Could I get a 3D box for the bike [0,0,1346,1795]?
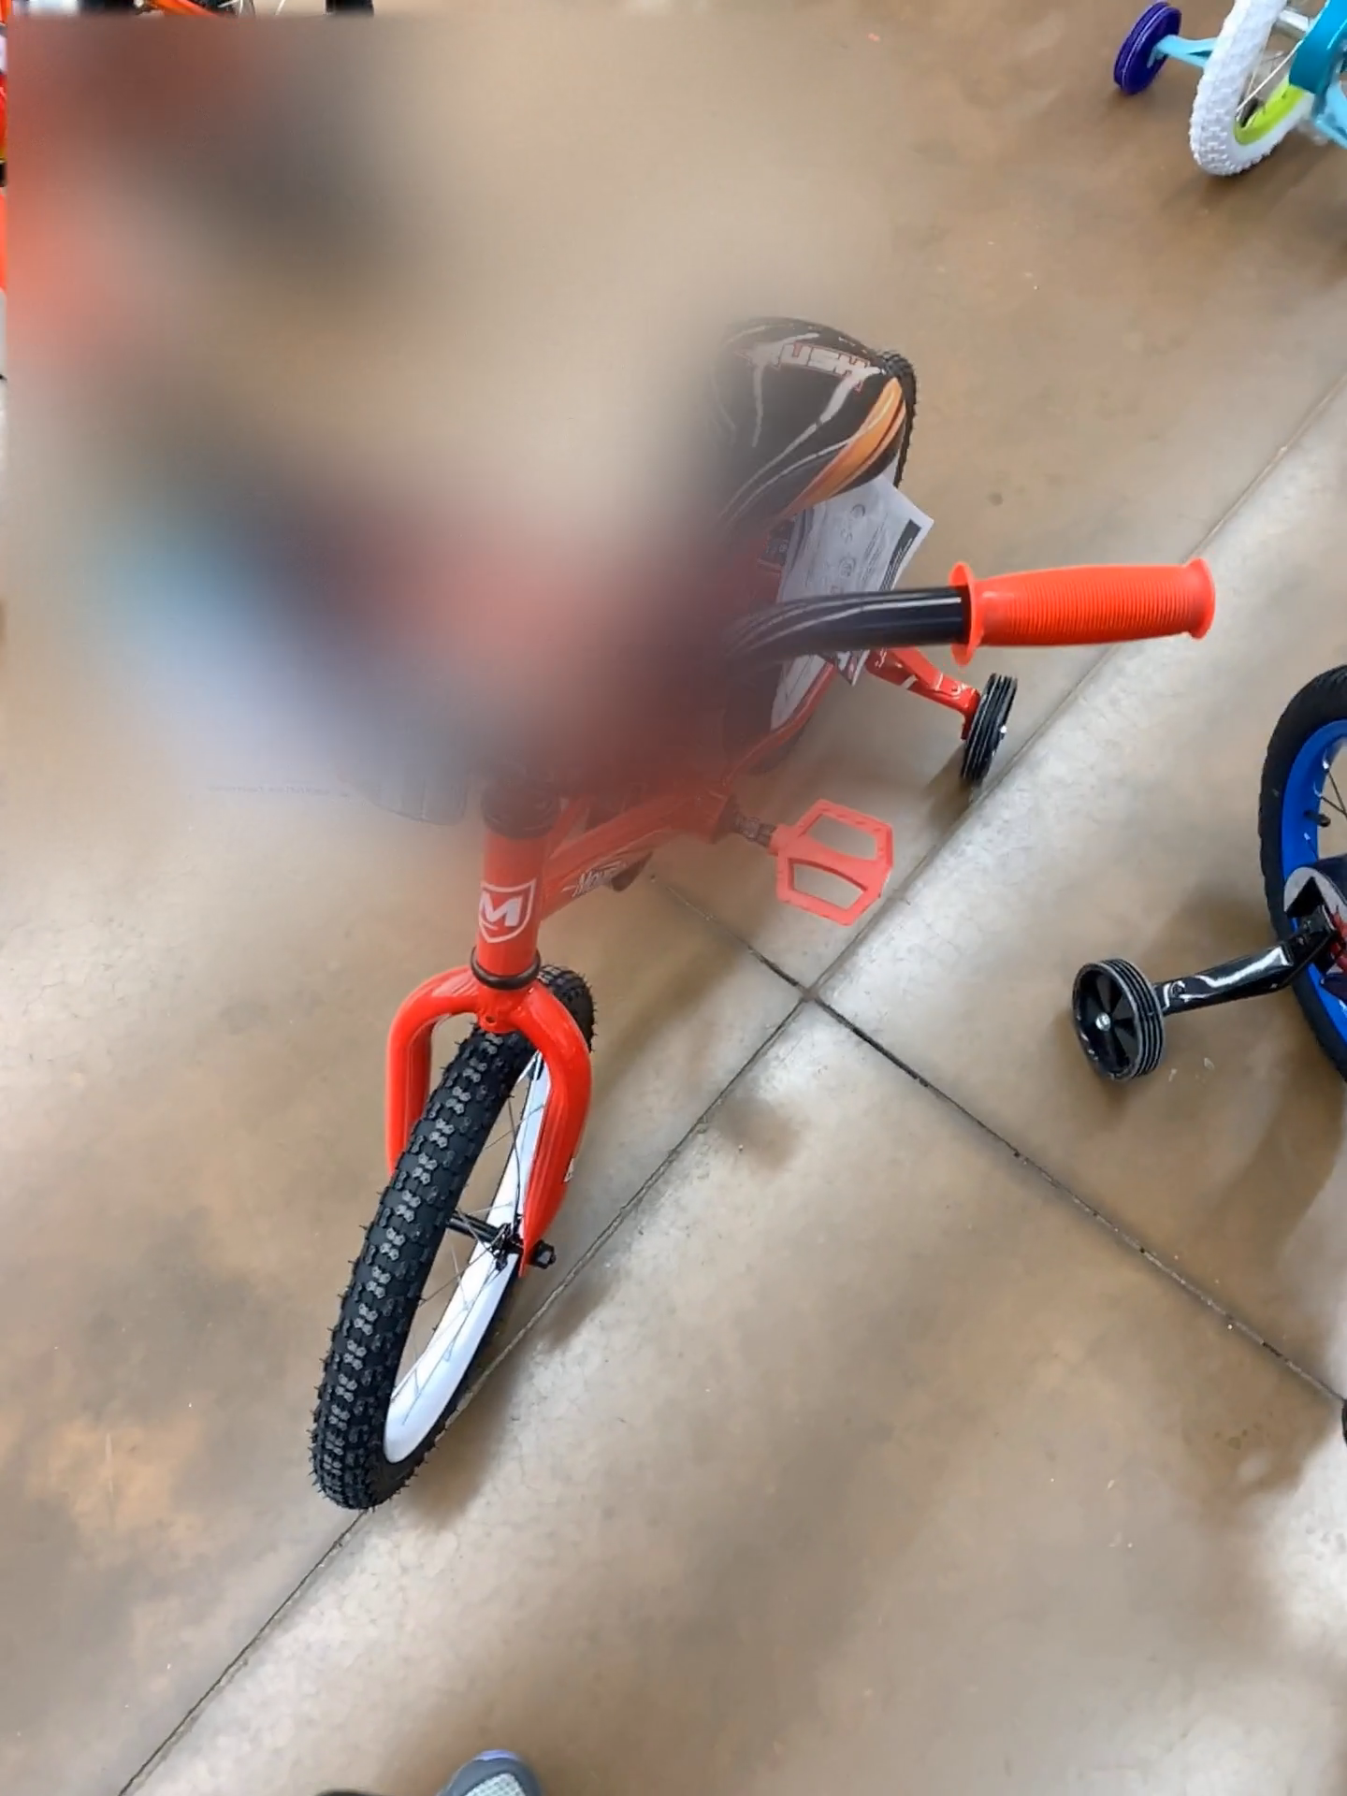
[{"bbox_3d":[0.027,-0.128,0.960,0.585,0.850,1.072,22,62,10],"label":"bike"}]
